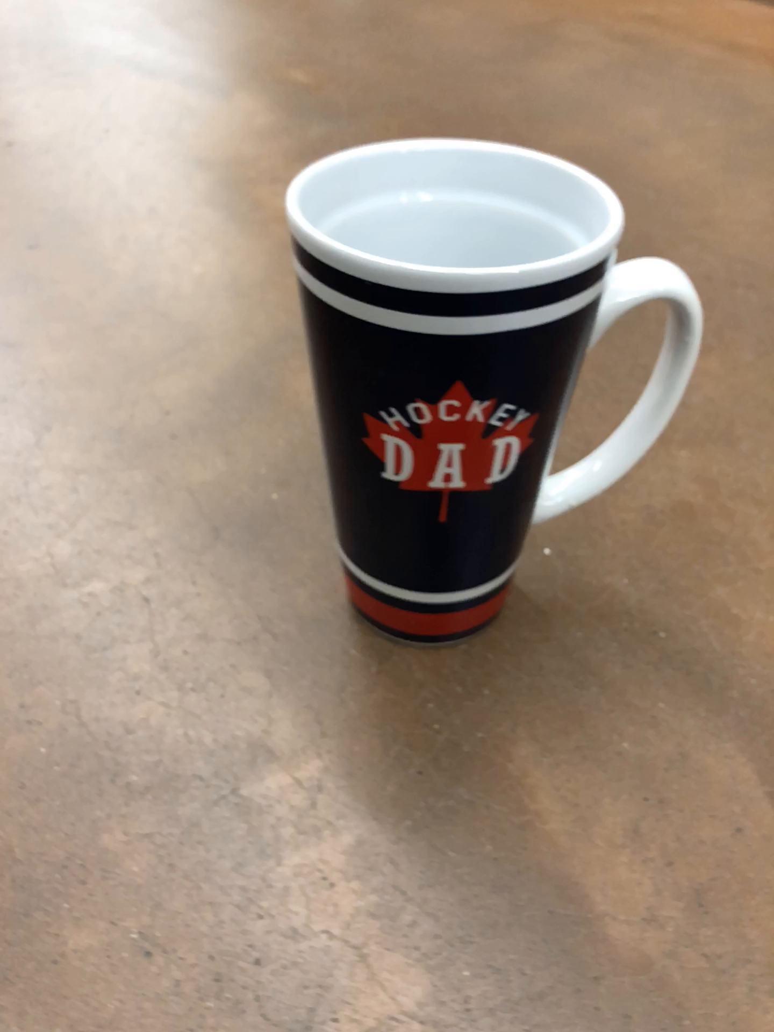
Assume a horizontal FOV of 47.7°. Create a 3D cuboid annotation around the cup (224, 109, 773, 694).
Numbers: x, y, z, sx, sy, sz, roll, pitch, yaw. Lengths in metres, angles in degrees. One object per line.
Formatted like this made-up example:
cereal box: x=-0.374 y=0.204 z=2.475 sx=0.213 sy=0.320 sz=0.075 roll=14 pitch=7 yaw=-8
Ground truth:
cup: x=0.031 y=-0.038 z=0.271 sx=0.130 sy=0.130 sz=0.090 roll=-14 pitch=44 yaw=-16
